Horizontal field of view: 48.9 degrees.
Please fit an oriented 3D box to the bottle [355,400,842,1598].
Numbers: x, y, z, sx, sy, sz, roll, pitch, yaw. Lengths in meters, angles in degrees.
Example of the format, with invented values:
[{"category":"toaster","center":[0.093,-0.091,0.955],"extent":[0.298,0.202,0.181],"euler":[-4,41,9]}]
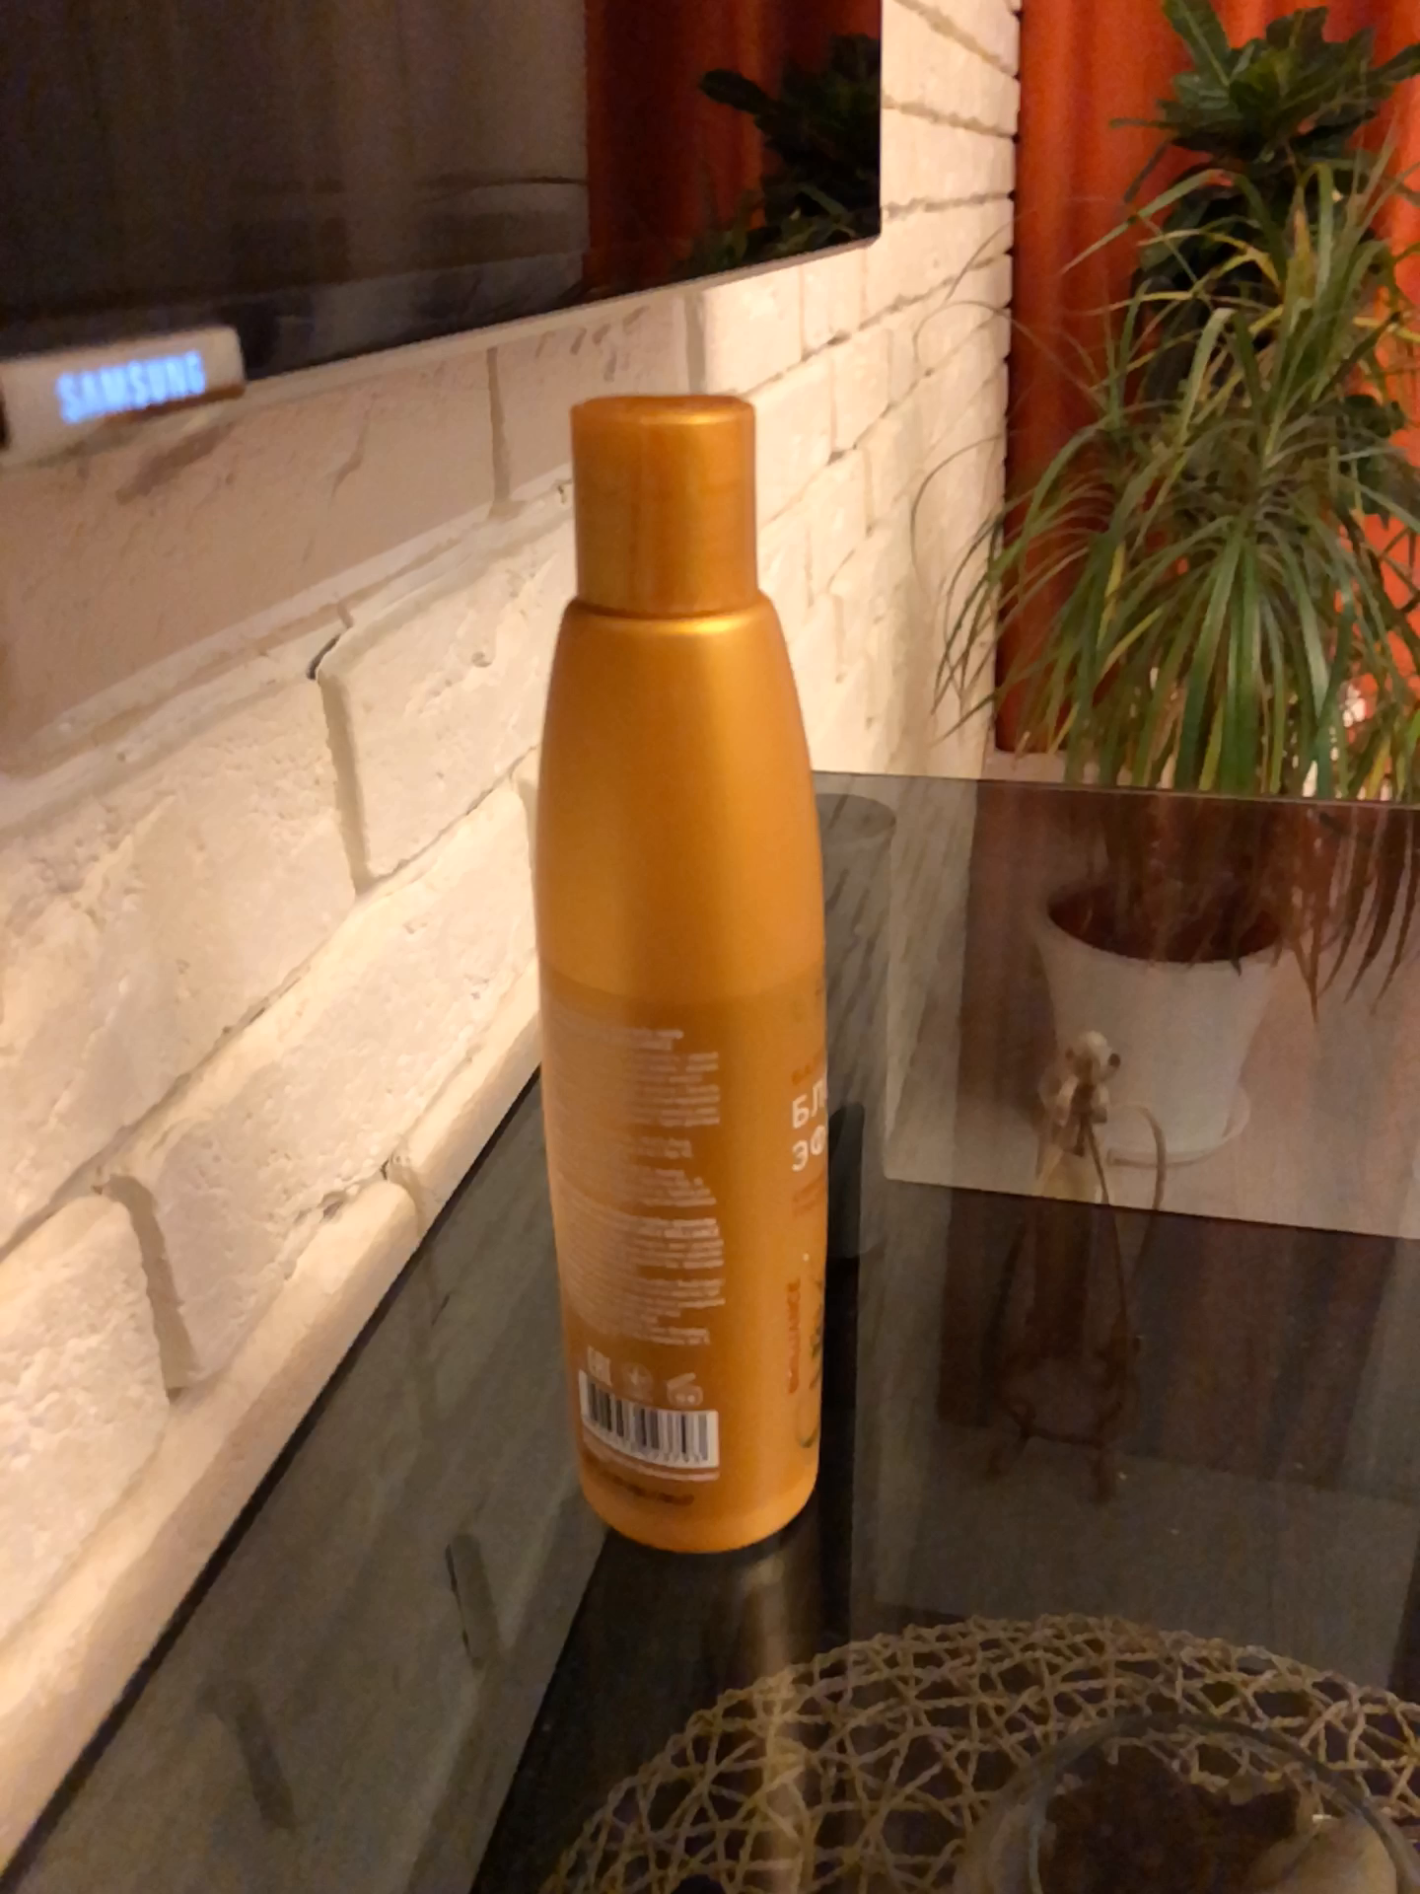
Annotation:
[{"category":"bottle","center":[-0.010,0.015,0.266],"extent":[0.060,0.199,0.050],"euler":[1,25,9]}]
